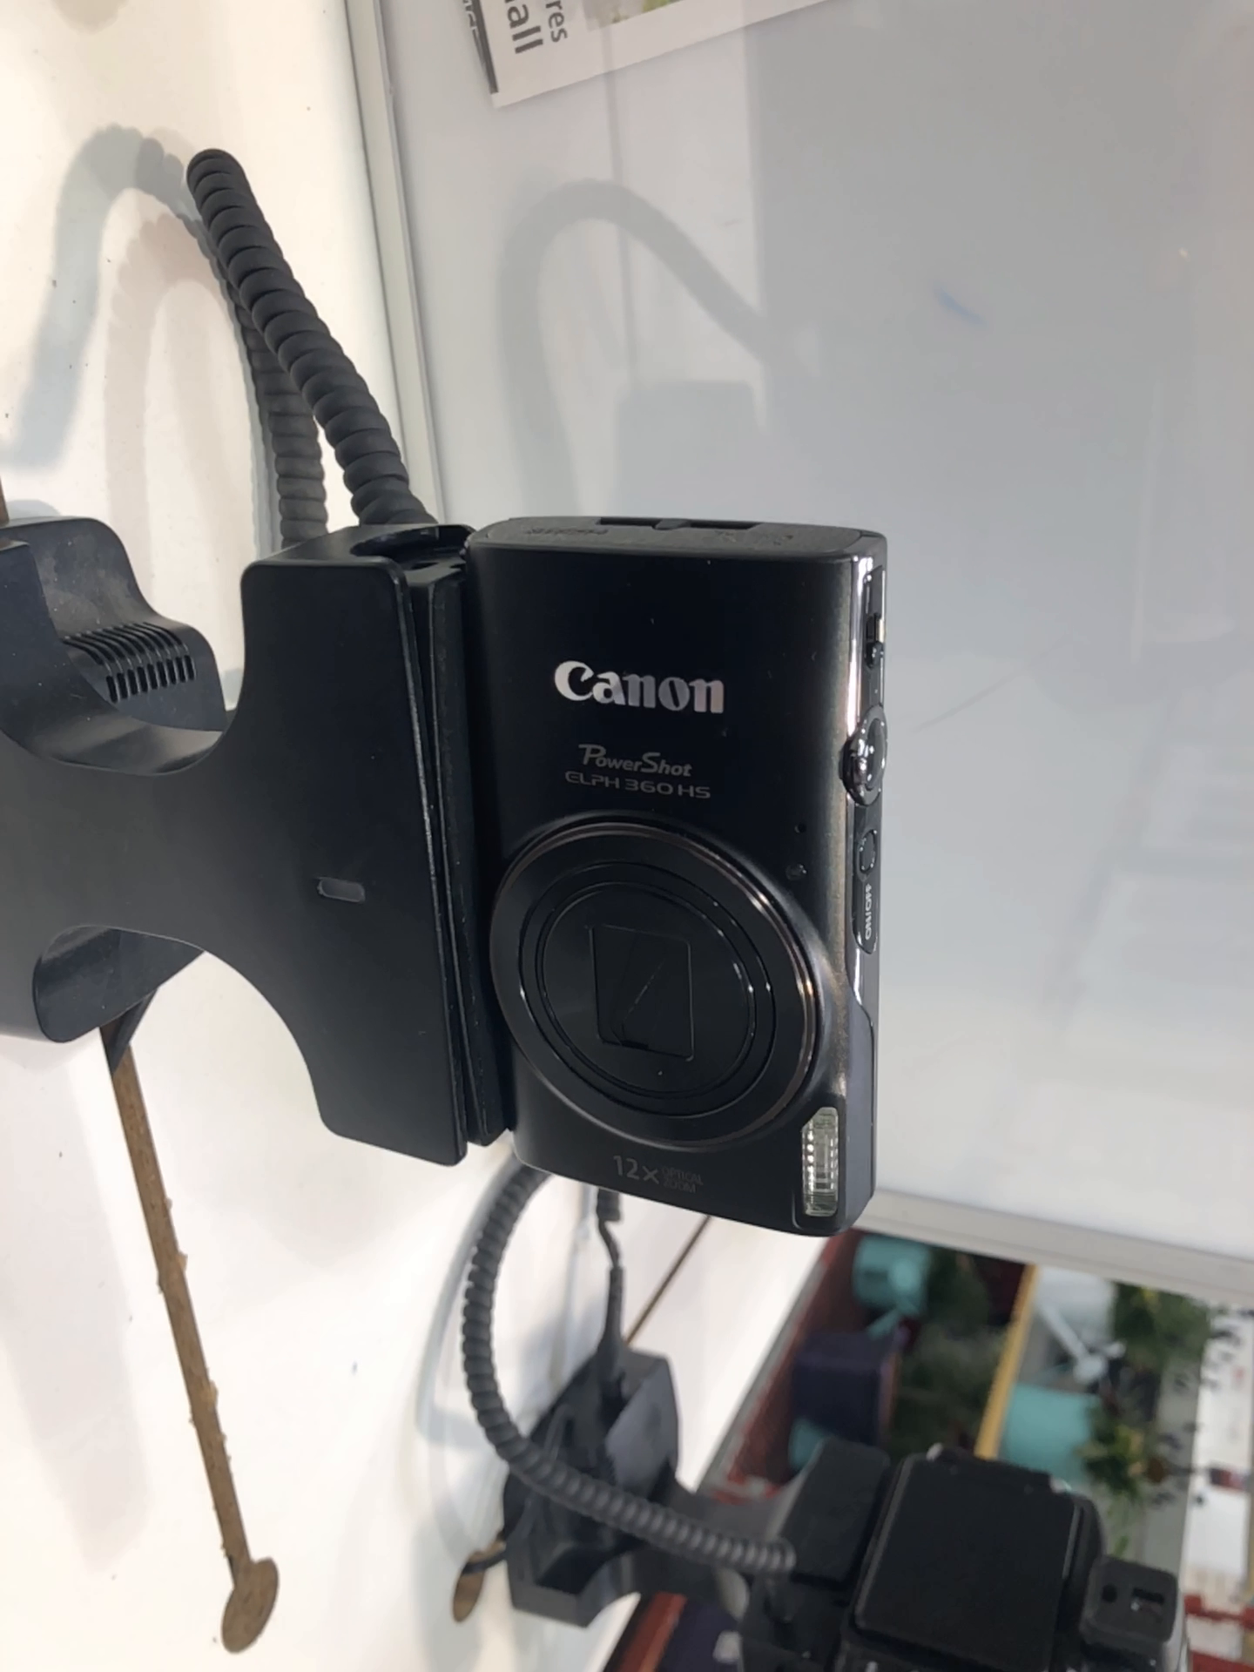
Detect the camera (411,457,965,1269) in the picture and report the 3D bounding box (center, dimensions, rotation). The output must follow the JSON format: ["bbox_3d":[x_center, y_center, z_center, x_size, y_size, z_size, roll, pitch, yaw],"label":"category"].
[{"bbox_3d":[0.011,0.002,0.210,0.030,0.070,0.110,-36,127,-59],"label":"camera"}]
